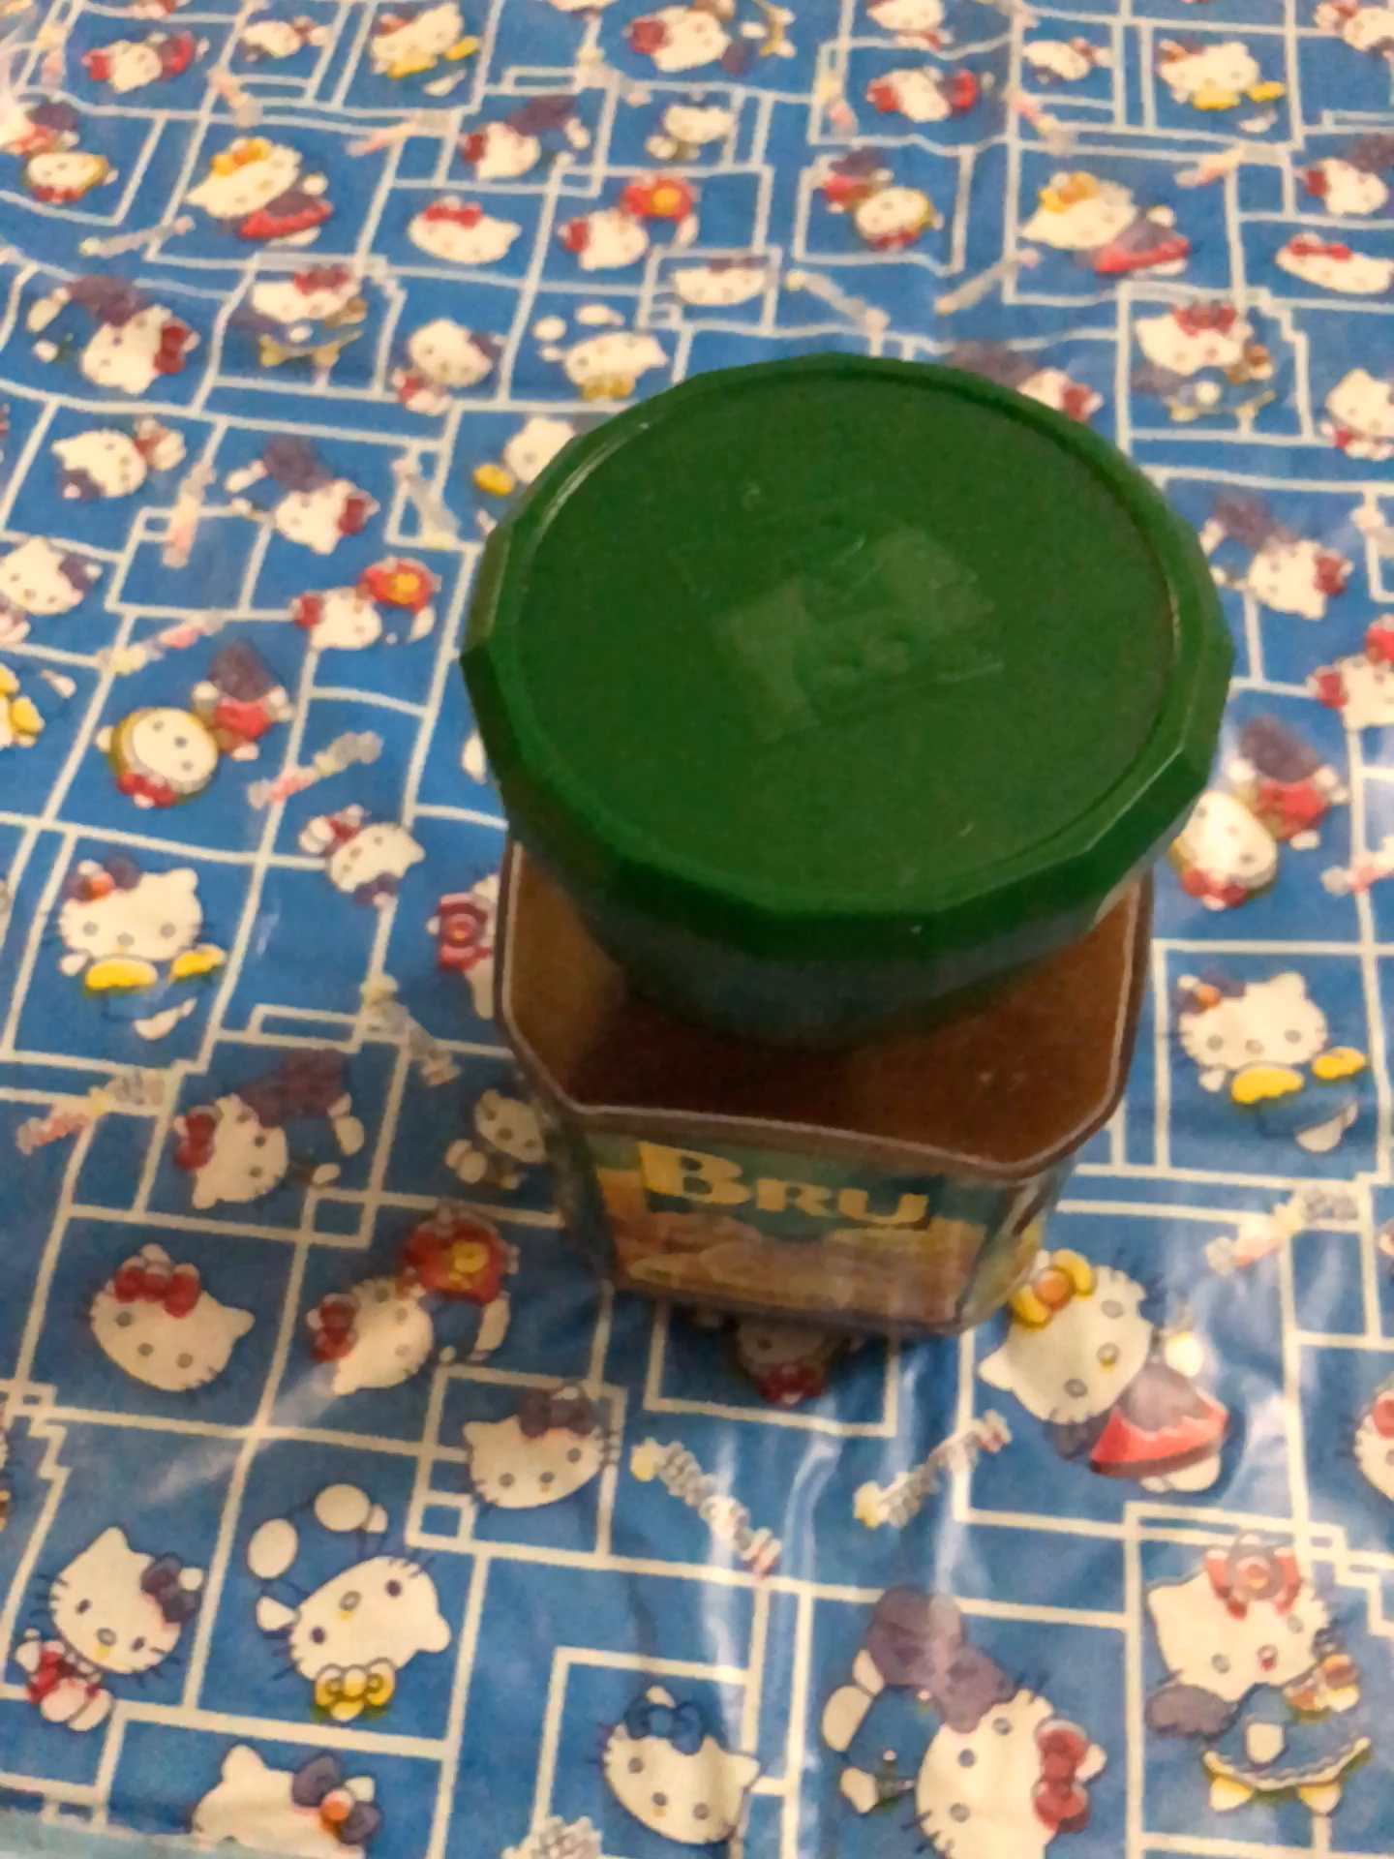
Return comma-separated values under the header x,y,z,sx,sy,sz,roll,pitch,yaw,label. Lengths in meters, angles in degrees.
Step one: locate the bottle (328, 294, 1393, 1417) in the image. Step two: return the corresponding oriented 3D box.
x,y,z,sx,sy,sz,roll,pitch,yaw,label
0.019,0.003,0.184,0.080,0.120,0.070,8,63,6,bottle
